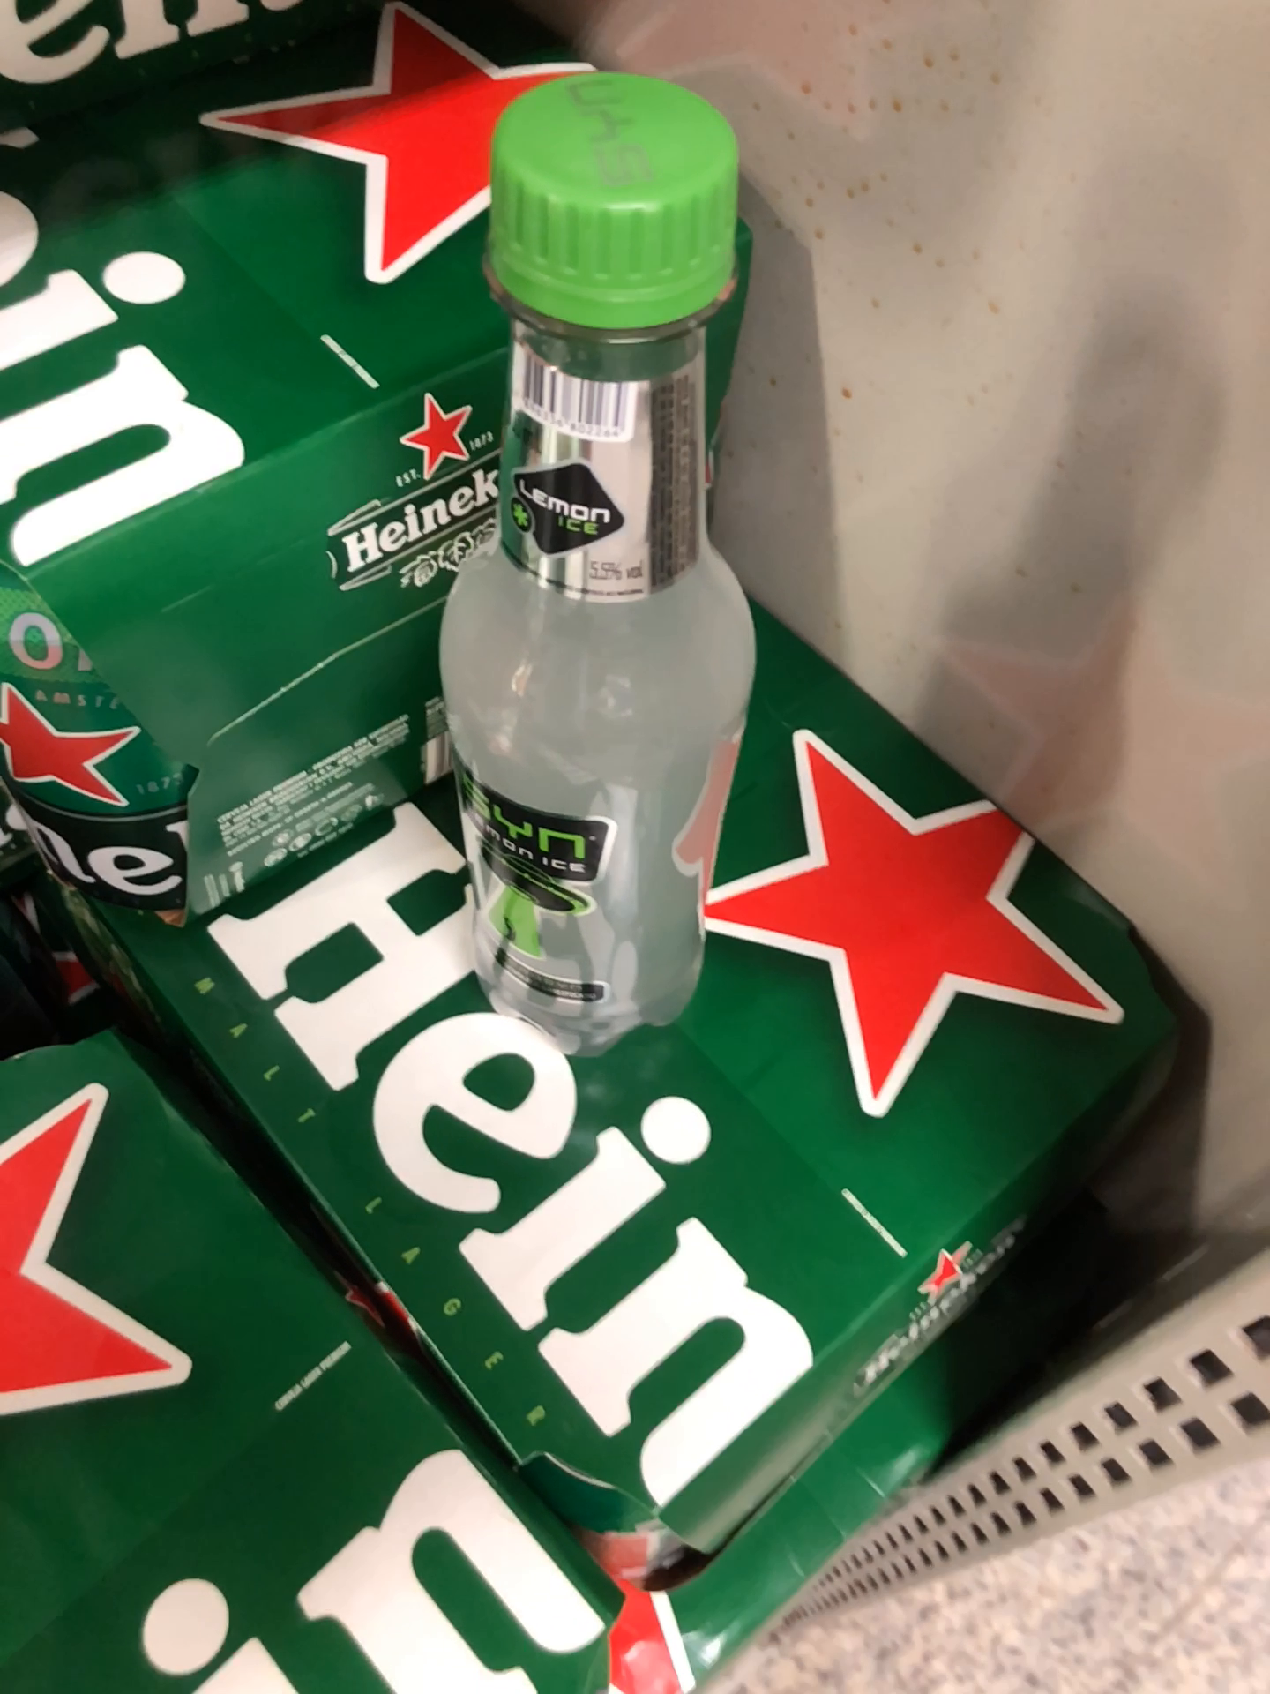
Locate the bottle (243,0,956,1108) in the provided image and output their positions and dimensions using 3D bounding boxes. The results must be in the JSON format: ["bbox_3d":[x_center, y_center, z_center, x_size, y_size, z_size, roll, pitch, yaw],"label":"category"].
[{"bbox_3d":[-0.008,-0.032,0.252,0.060,0.209,0.060,2,58,-3],"label":"bottle"}]
